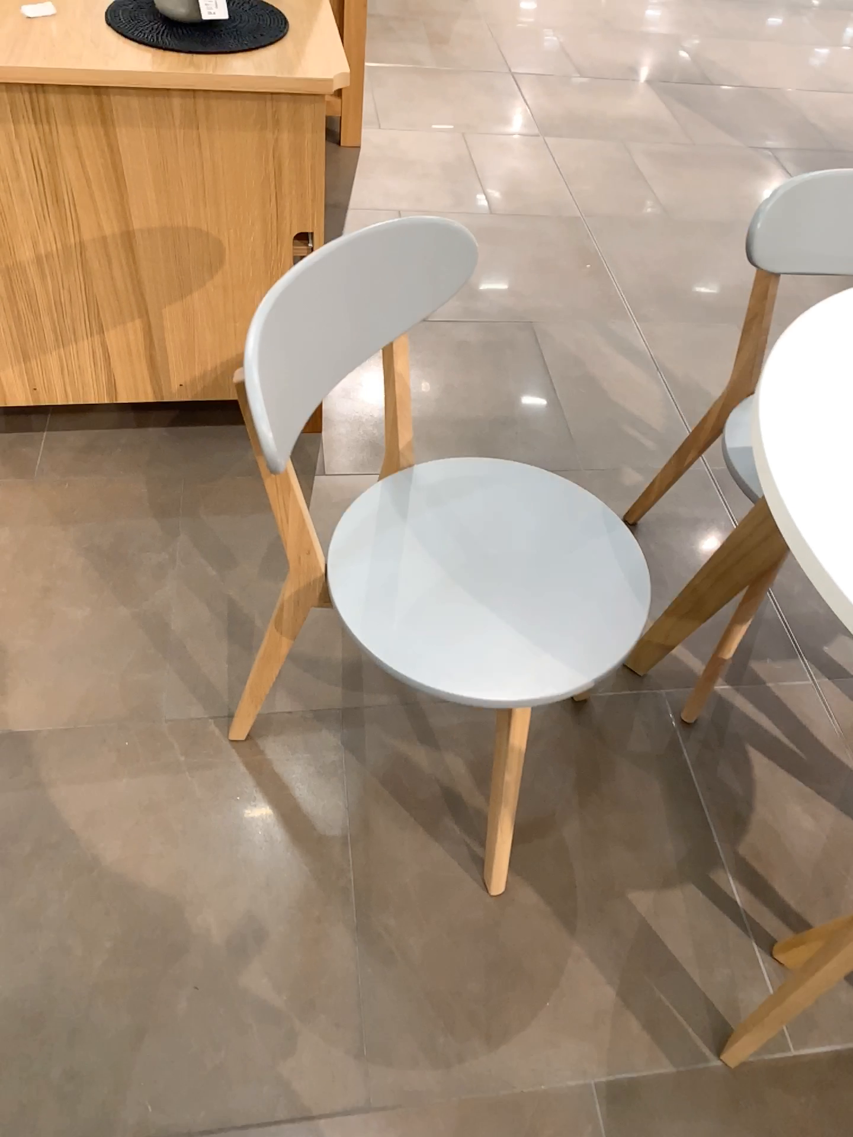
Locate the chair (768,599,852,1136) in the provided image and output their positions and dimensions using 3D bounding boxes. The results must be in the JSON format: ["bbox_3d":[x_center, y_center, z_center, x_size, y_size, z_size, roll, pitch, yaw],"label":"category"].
[{"bbox_3d":[0.837,0.496,0.870,0.519,0.799,0.545,0,49,-8],"label":"chair"}]

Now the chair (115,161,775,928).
[{"bbox_3d":[0.018,-0.003,1.217,0.531,0.799,0.523,24,50,14],"label":"chair"}]

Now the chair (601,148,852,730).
[{"bbox_3d":[0.713,-0.180,1.485,0.519,0.799,0.545,-1,49,-8],"label":"chair"}]
